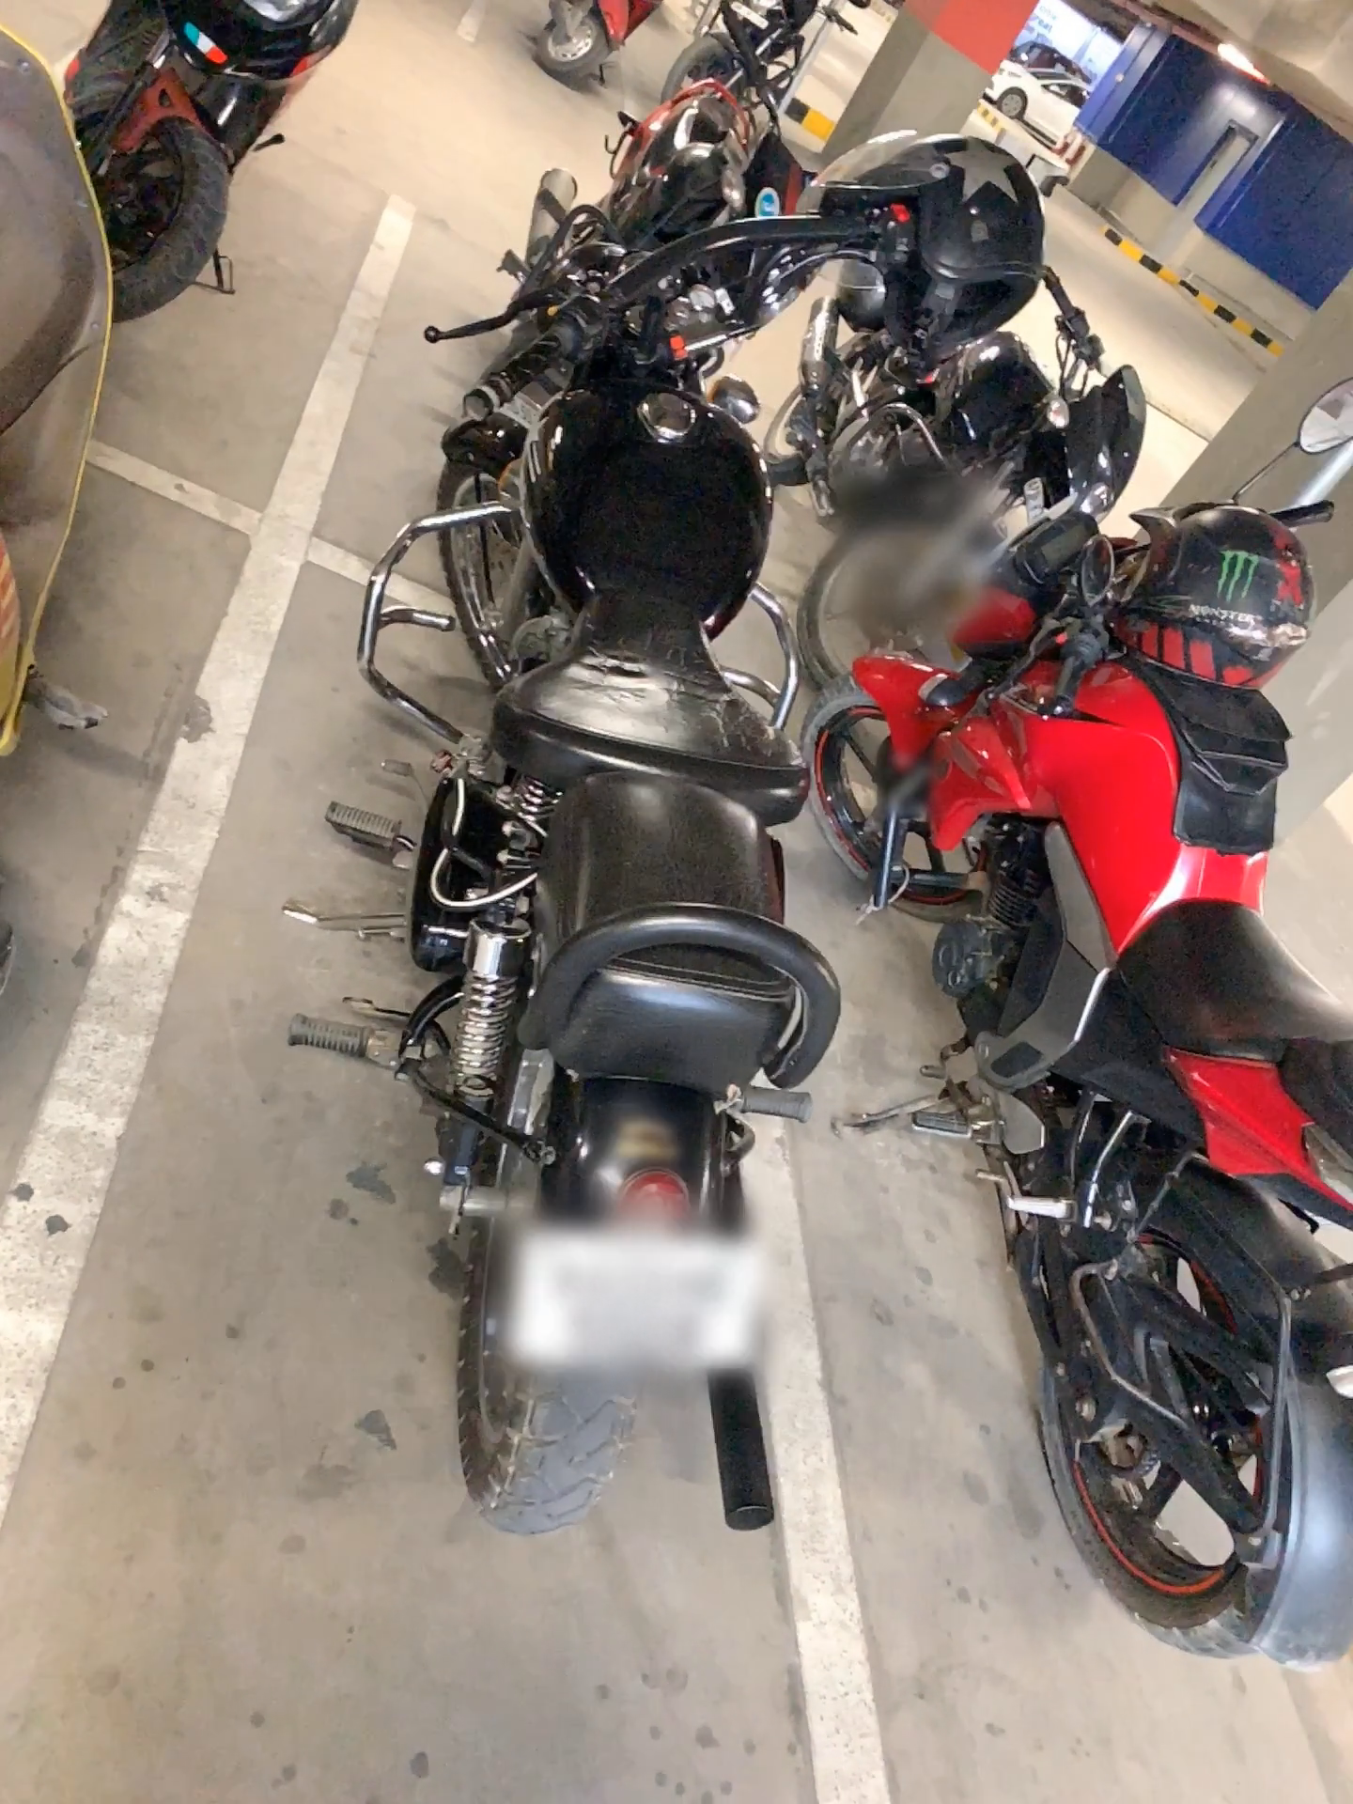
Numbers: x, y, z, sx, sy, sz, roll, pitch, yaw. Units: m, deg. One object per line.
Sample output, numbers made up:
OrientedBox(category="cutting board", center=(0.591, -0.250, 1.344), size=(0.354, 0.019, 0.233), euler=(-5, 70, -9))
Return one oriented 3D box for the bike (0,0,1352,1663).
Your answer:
OrientedBox(category="bike", center=(-0.283, -0.385, 1.801), size=(0.800, 1.303, 2.028), euler=(17, 37, -27))
